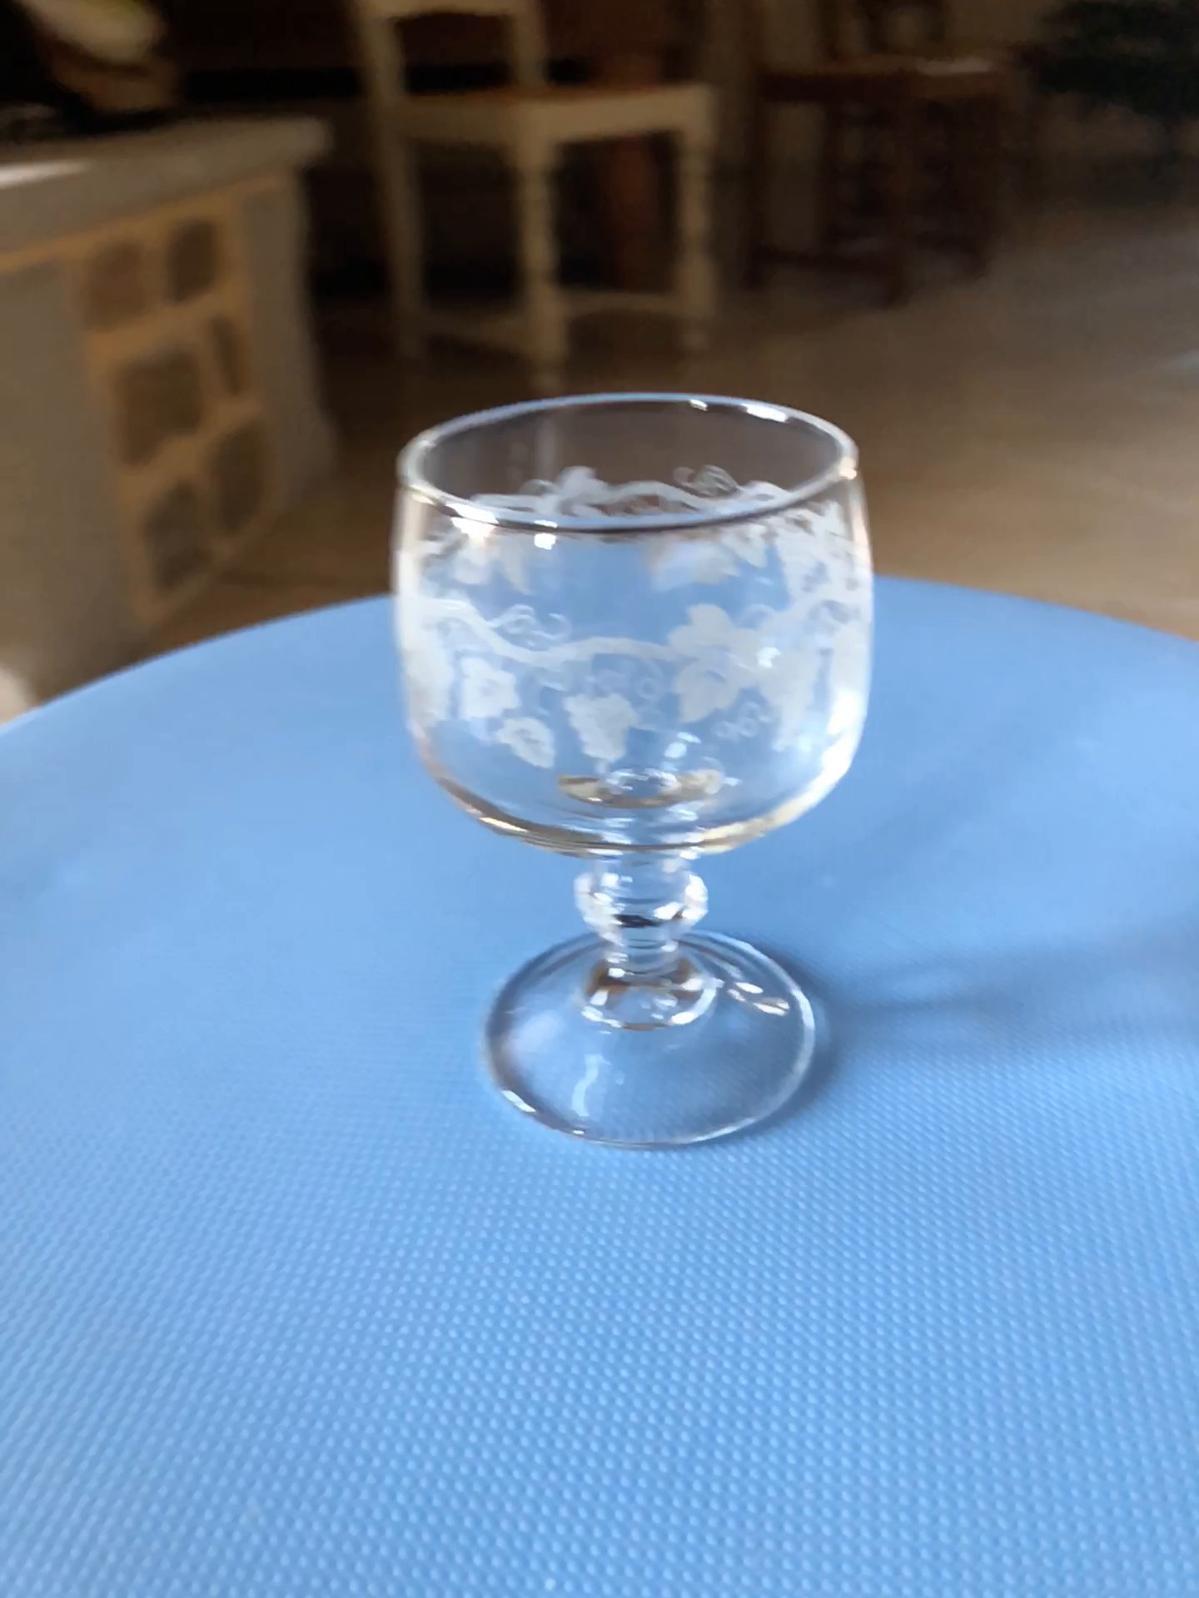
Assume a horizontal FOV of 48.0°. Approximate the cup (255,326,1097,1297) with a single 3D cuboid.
[{"bbox_3d":[0.008,-0.005,0.155,0.060,0.080,0.060,-2,29,1],"label":"cup"}]
